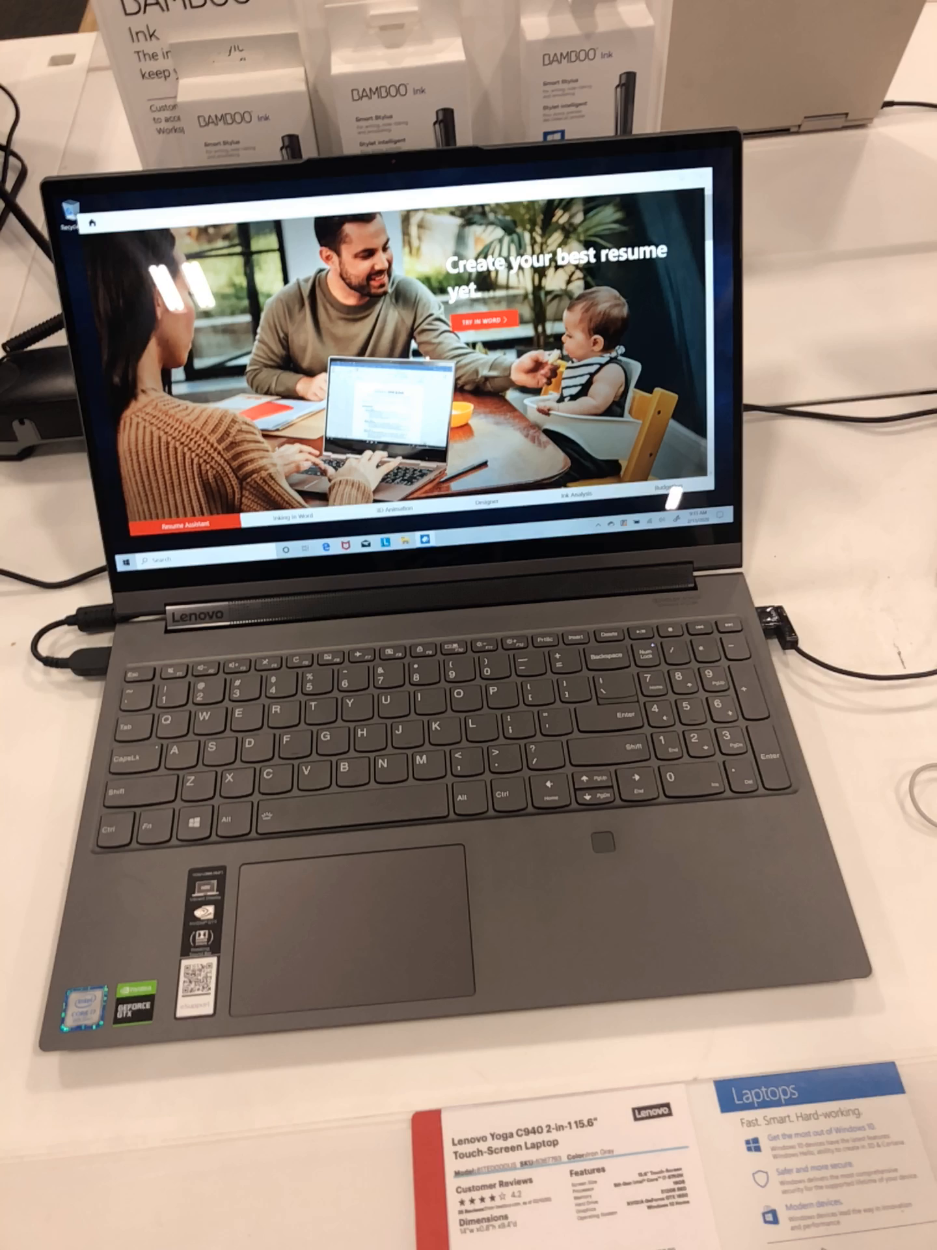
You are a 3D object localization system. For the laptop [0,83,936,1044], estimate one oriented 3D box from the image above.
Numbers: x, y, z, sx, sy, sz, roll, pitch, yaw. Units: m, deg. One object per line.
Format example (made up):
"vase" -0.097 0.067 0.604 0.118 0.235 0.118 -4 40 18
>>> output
"laptop" -0.028 -0.045 0.479 0.336 0.169 0.375 -5 58 -2
